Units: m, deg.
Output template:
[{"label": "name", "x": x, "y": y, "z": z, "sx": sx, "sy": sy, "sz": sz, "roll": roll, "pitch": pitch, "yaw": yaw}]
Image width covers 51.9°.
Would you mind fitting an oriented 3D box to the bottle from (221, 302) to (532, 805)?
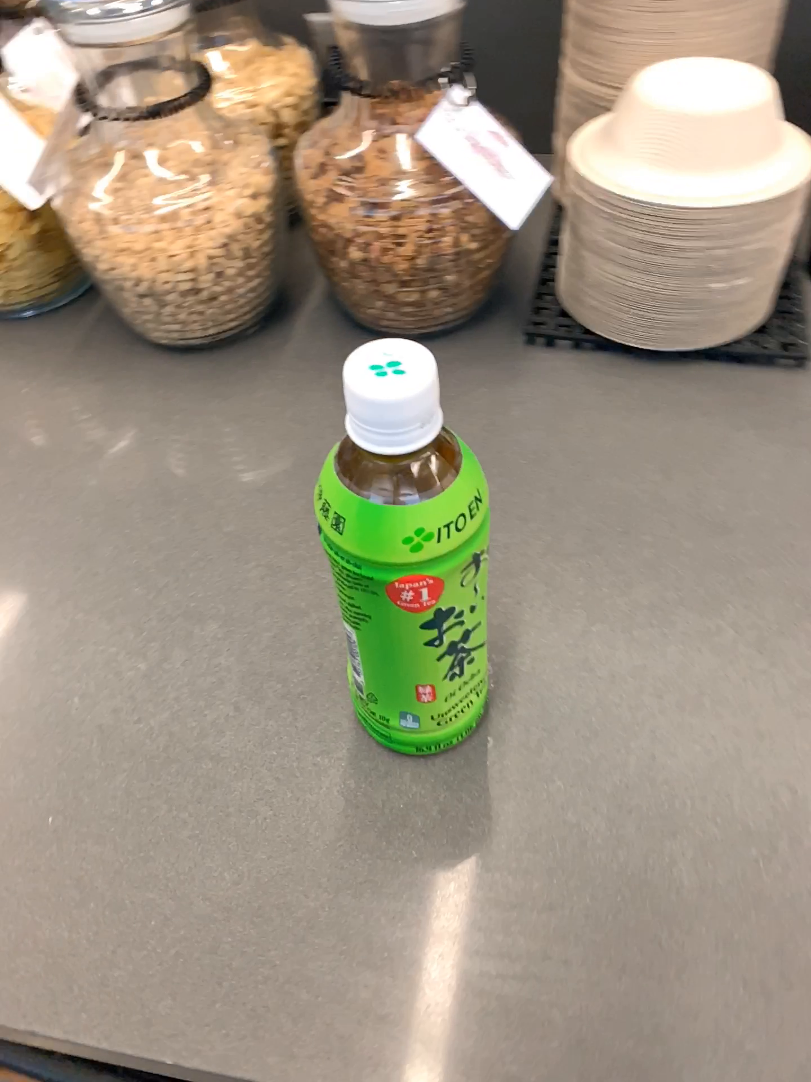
[{"label": "bottle", "x": -0.003, "y": 0.018, "z": 0.338, "sx": 0.070, "sy": 0.199, "sz": 0.070, "roll": -3, "pitch": 49, "yaw": 3}]
